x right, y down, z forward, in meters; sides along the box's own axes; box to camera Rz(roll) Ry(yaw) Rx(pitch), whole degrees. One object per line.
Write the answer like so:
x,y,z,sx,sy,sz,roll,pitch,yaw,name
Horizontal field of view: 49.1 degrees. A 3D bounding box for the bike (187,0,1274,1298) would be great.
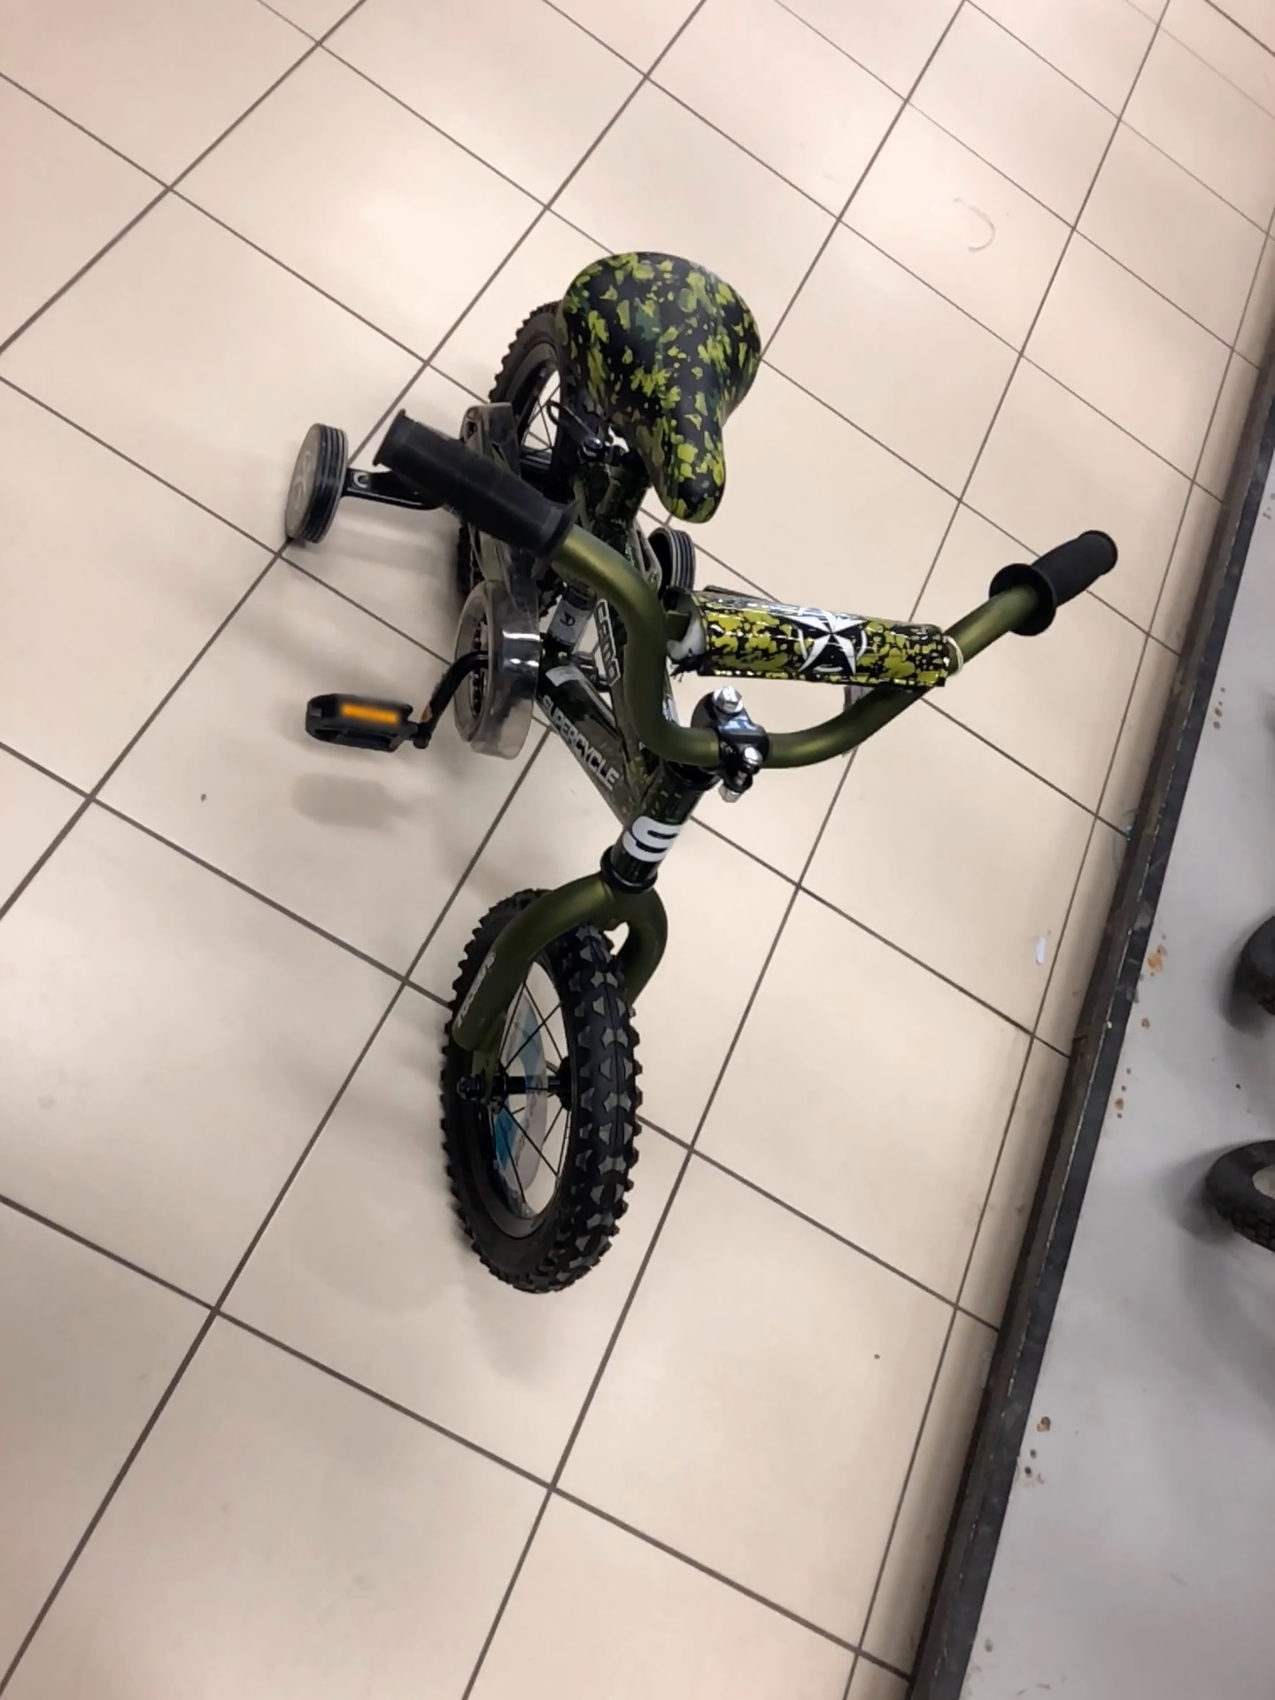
0.010,-0.126,1.001,0.533,0.557,0.817,6,64,-23,bike
